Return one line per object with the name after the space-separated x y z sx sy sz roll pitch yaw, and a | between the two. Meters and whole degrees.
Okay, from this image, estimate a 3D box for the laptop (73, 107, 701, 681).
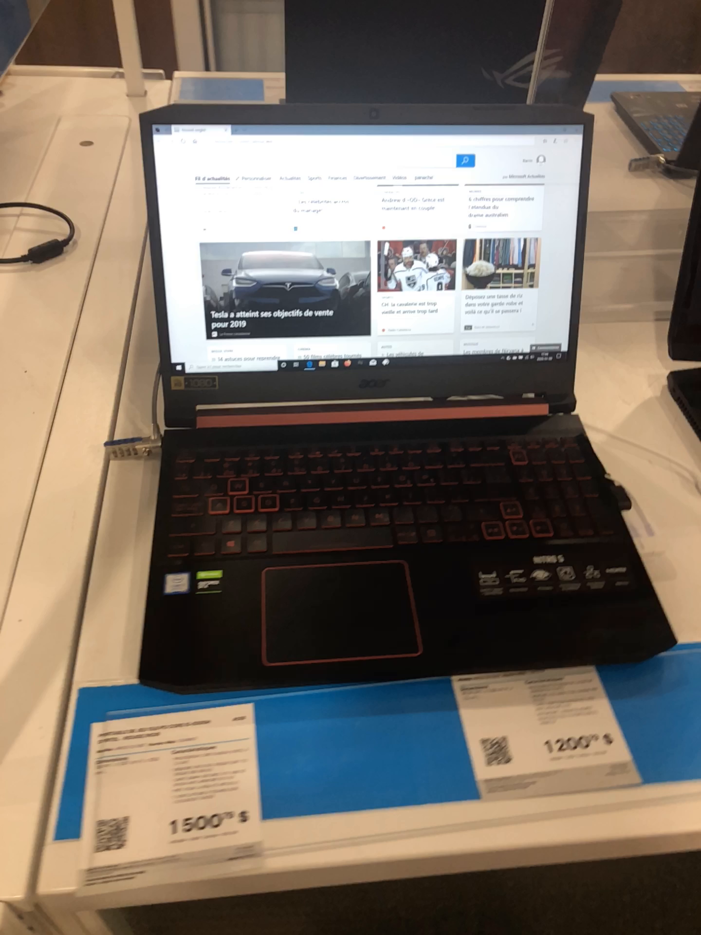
0.033 -0.077 0.555 0.357 0.211 0.360 -3 47 -6 | laptop
